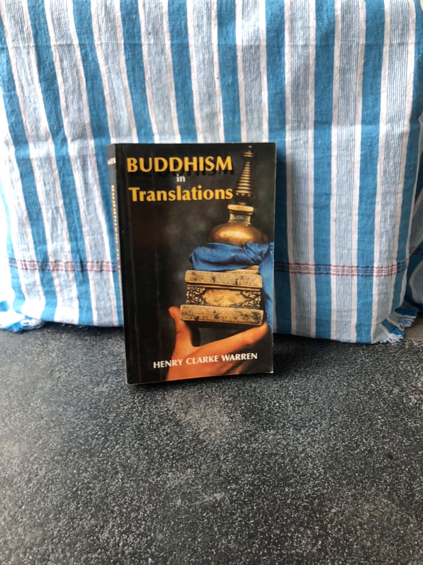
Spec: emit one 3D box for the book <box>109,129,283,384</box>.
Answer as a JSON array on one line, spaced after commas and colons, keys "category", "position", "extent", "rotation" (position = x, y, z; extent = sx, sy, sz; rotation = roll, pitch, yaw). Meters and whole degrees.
[{"category": "book", "position": [-0.013, -0.025, 0.424], "extent": [0.140, 0.210, 0.050], "rotation": [-3, 5, -9]}]
